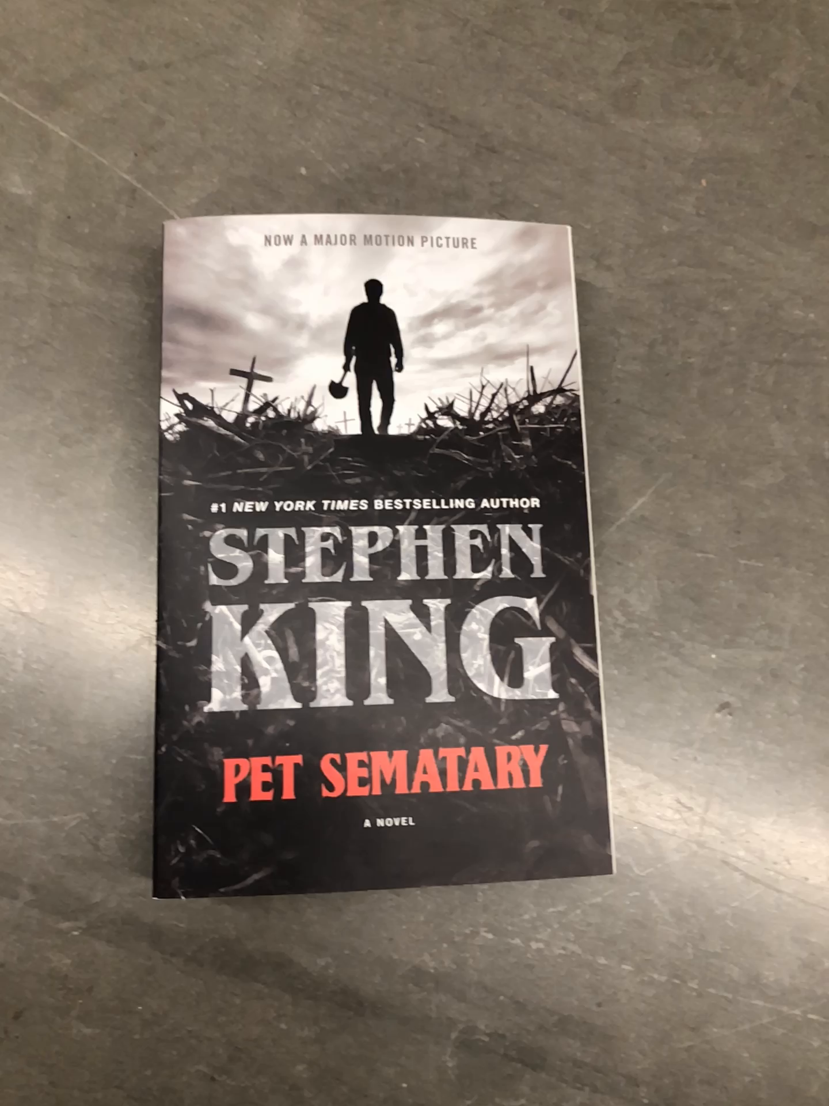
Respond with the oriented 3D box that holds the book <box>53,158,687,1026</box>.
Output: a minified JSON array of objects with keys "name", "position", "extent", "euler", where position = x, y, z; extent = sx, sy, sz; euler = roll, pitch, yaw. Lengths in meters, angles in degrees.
[{"name":"book","position":[-0.017,0.003,0.271],"extent":[0.160,0.050,0.220],"euler":[-2,81,-11]}]
